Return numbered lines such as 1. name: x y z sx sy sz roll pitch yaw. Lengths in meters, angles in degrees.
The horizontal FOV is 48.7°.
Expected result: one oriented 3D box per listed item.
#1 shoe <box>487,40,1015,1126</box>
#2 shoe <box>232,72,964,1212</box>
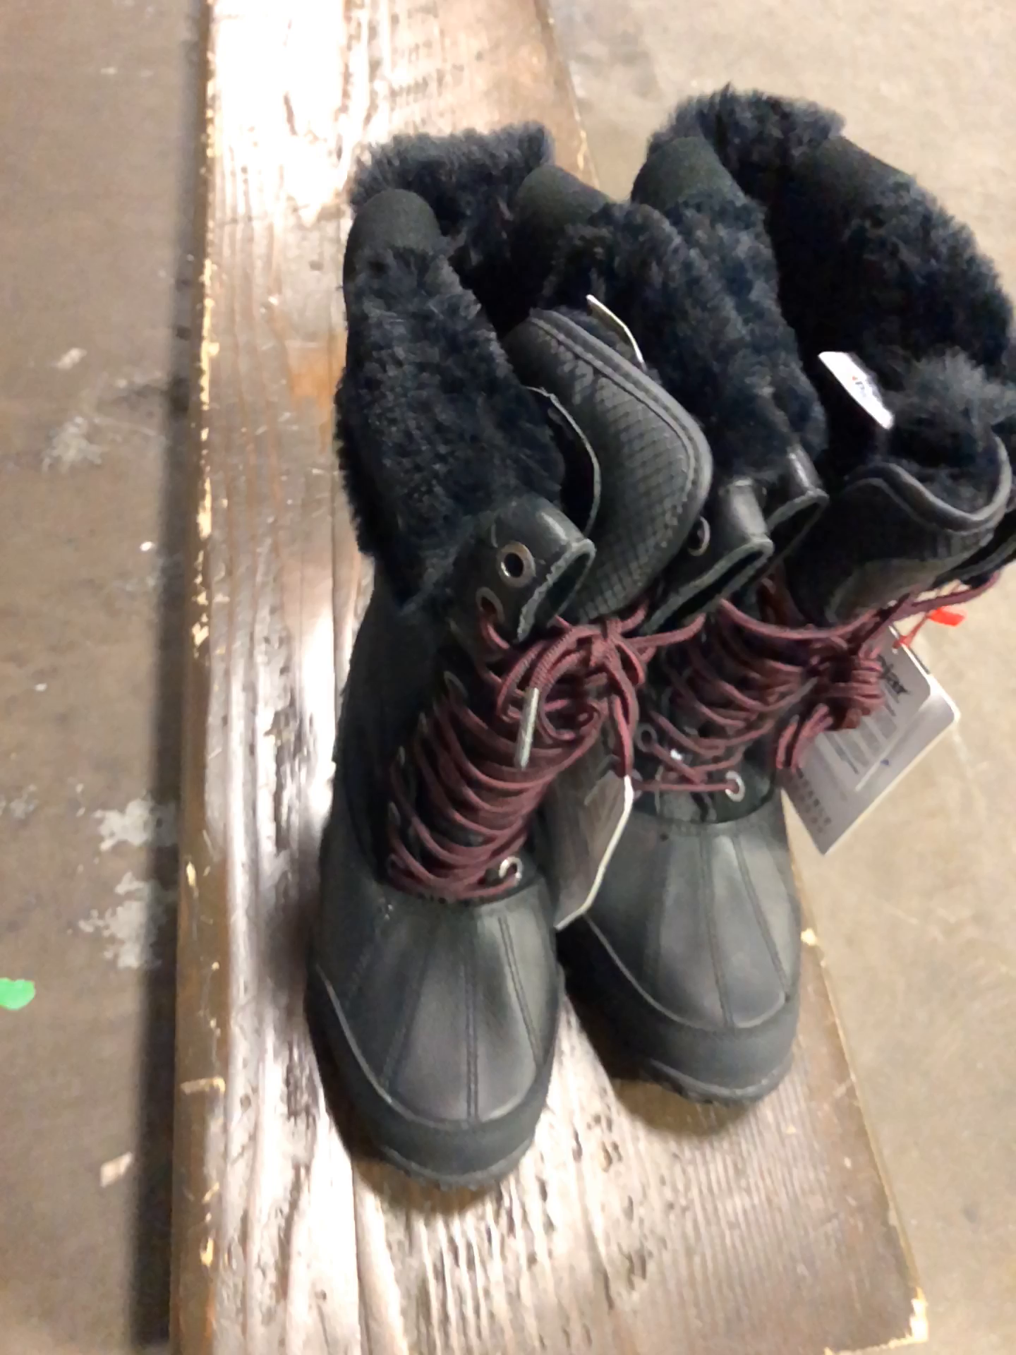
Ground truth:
1. shoe: 0.081 -0.012 0.364 0.100 0.258 0.231 -5 58 -14
2. shoe: -0.016 0.010 0.335 0.100 0.258 0.221 -5 58 -14
